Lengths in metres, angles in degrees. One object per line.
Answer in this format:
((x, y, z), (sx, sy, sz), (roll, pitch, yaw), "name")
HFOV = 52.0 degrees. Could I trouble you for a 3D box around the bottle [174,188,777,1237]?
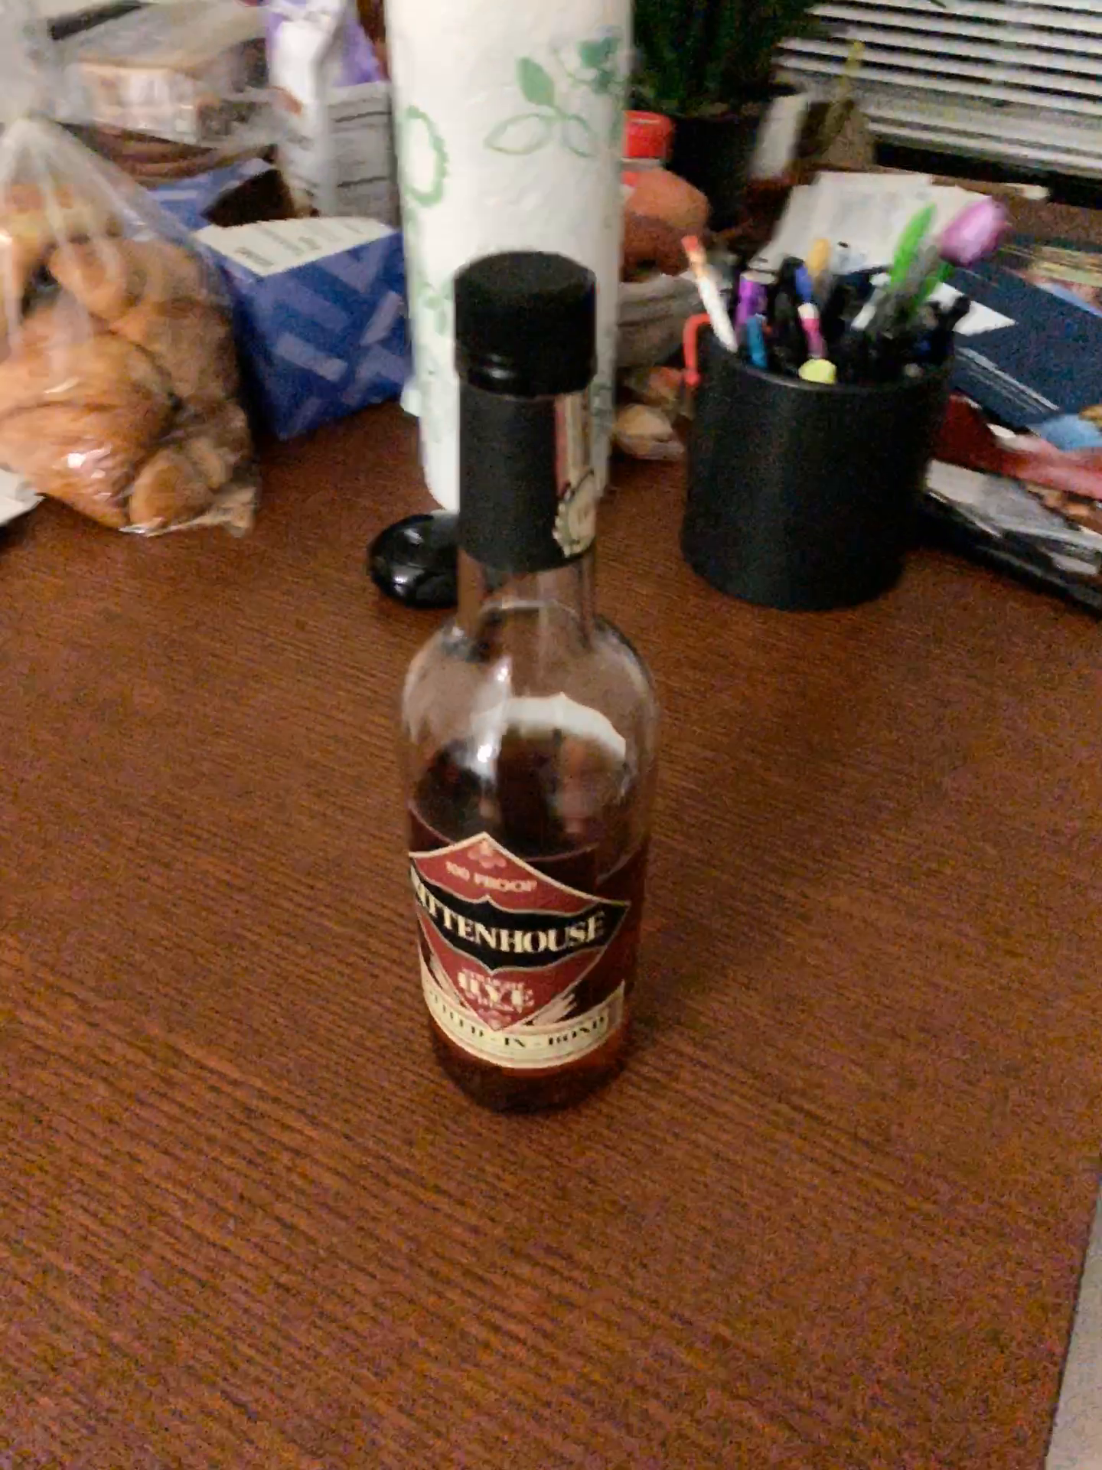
((-0.010, 0.020, 0.313), (0.090, 0.288, 0.090), (0, 43, 0), "bottle")
